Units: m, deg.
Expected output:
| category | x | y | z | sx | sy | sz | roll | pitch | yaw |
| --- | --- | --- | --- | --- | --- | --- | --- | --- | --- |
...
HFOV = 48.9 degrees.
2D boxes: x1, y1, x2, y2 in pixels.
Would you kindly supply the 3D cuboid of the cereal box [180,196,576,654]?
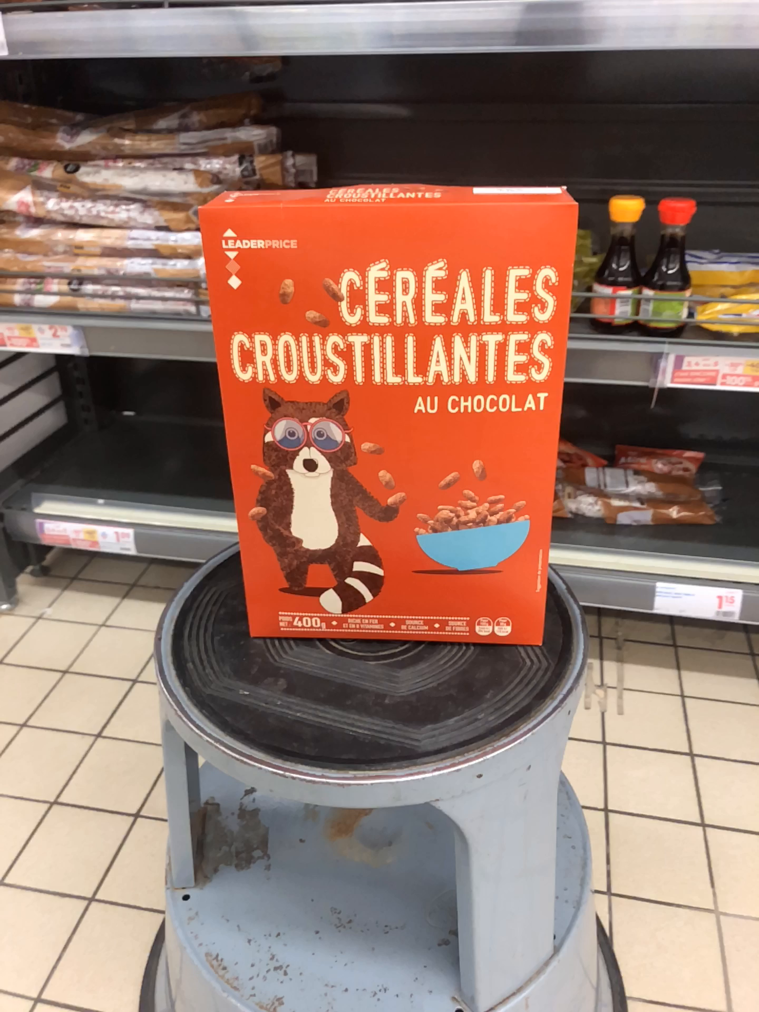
| category | x | y | z | sx | sy | sz | roll | pitch | yaw |
| --- | --- | --- | --- | --- | --- | --- | --- | --- | --- |
| cereal box | 0.002 | -0.039 | 0.487 | 0.190 | 0.259 | 0.060 | 2 | 29 | 5 |
